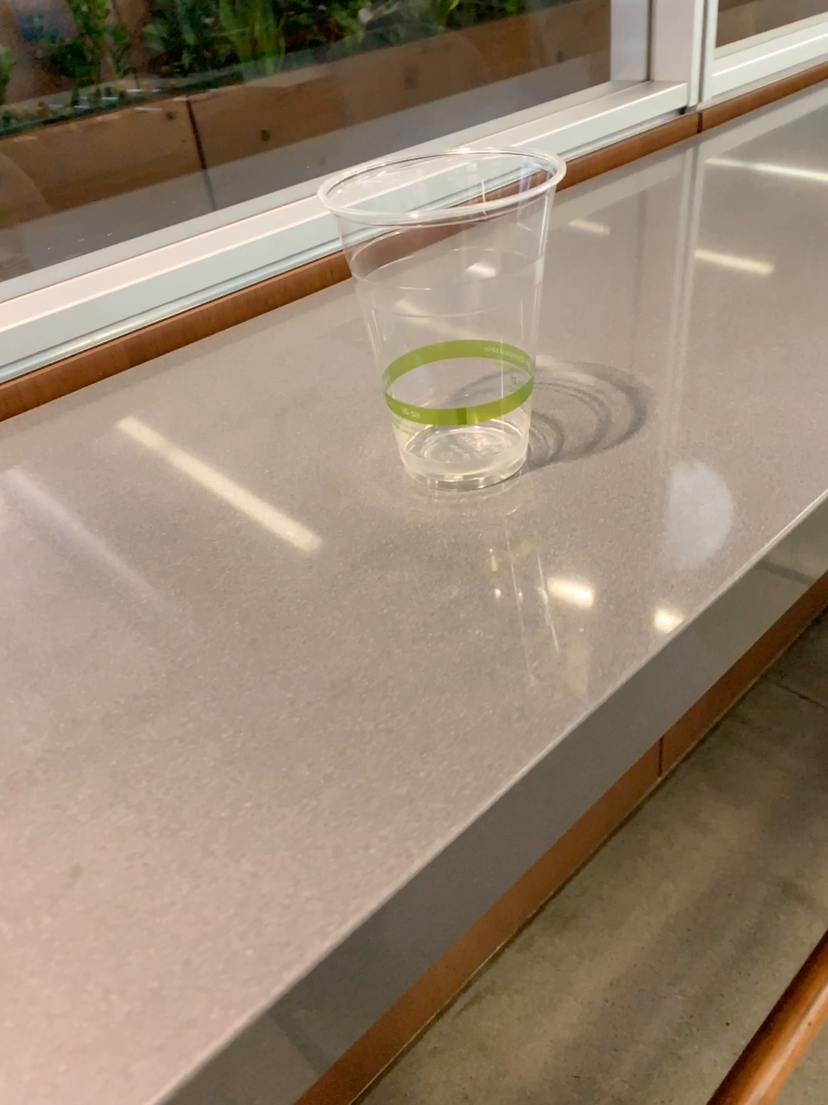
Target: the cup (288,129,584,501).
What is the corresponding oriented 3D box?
[{"bbox_3d":[0.021,-0.104,0.373,0.100,0.119,0.111,1,37,13],"label":"cup"}]
